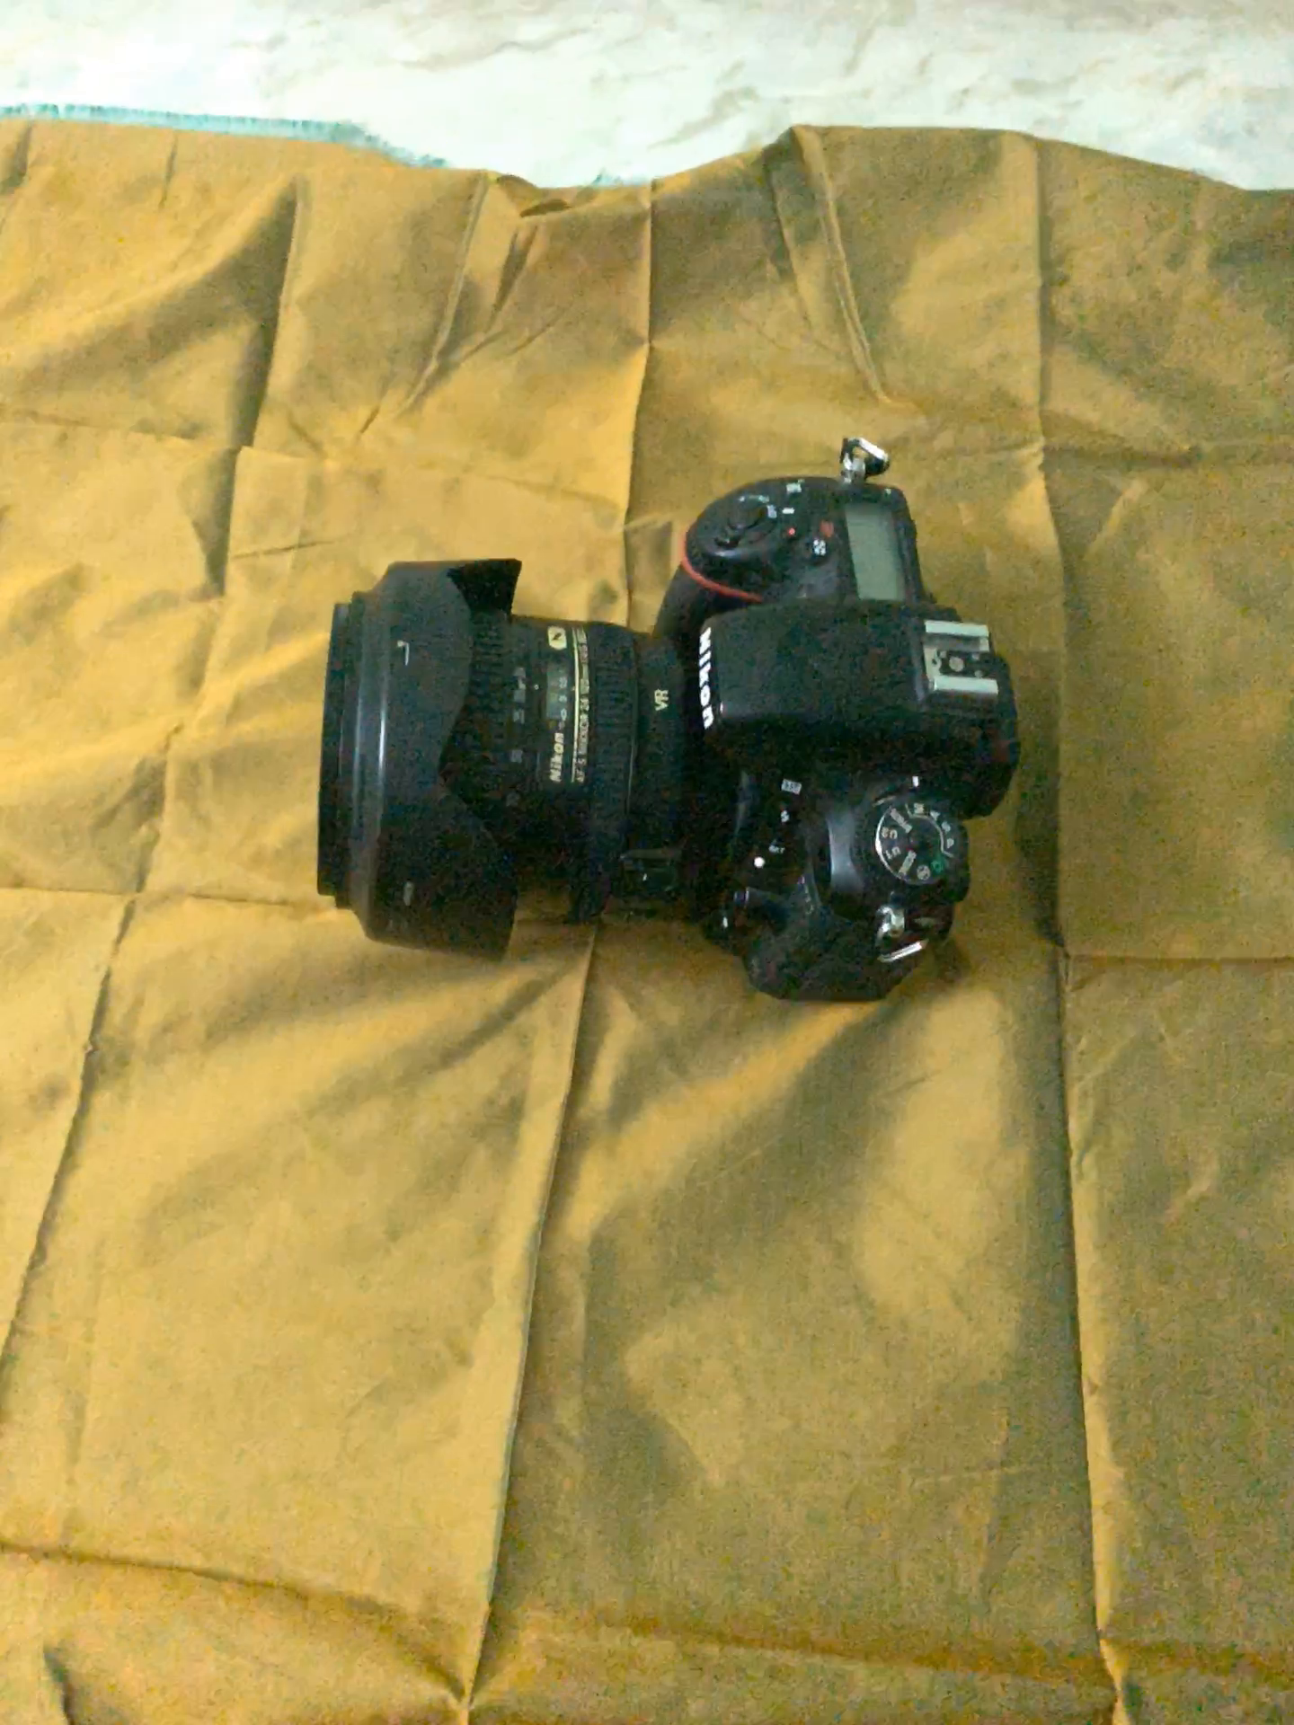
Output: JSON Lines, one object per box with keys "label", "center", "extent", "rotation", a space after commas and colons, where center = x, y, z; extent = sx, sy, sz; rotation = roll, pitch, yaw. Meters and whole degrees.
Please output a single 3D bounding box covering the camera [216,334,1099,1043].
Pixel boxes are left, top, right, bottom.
{"label": "camera", "center": [-0.001, -0.040, 0.361], "extent": [0.192, 0.100, 0.140], "rotation": [5, 64, -8]}
